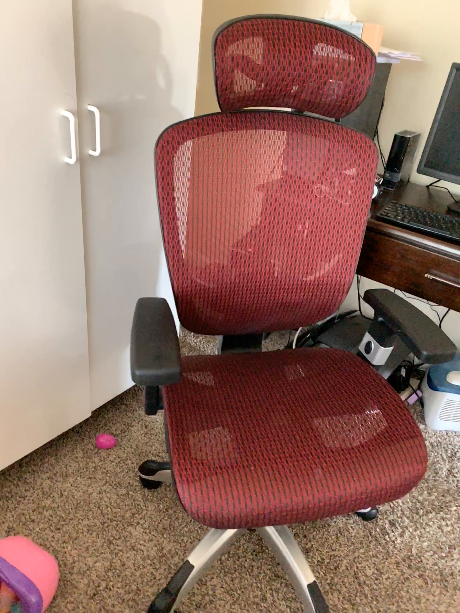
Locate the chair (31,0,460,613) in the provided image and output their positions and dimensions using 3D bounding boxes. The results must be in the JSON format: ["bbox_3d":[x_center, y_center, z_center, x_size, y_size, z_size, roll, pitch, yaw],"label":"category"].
[{"bbox_3d":[0.102,0.067,0.983,0.730,1.154,0.814,-1,31,-13],"label":"chair"}]
